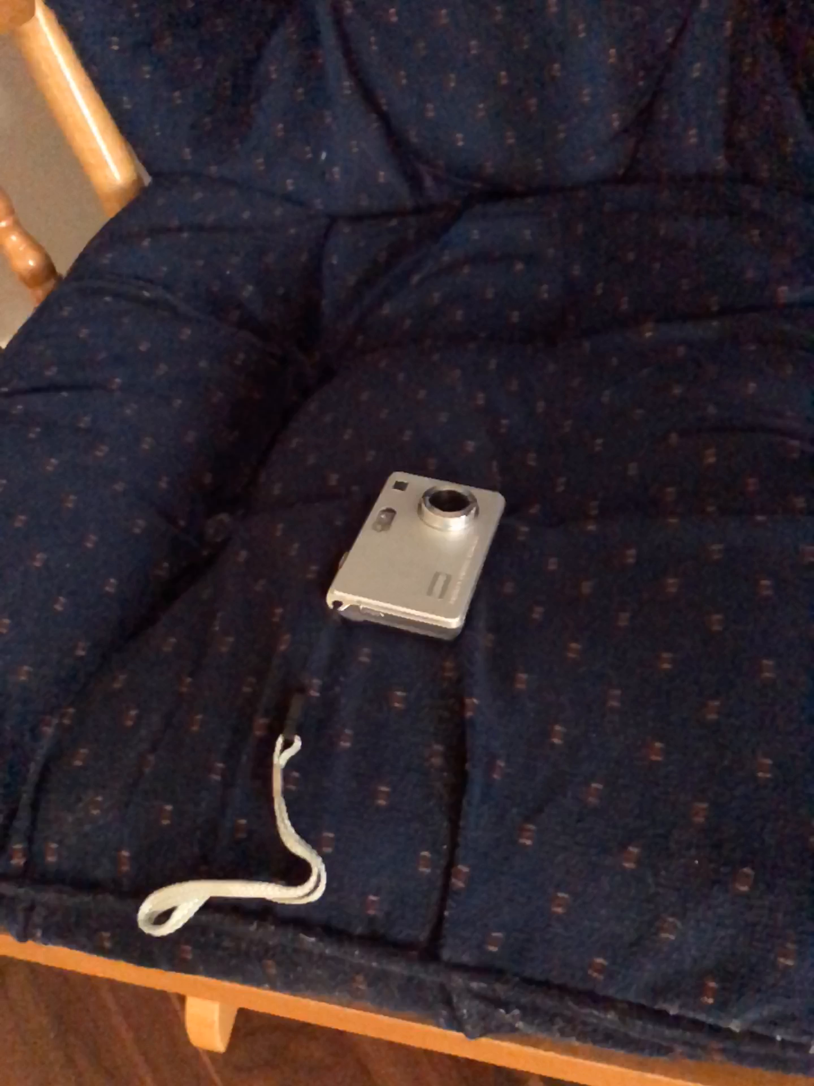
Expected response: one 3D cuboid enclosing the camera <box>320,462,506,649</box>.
[{"bbox_3d":[0.005,0.002,0.391,0.058,0.018,0.085,12,45,12],"label":"camera"}]
